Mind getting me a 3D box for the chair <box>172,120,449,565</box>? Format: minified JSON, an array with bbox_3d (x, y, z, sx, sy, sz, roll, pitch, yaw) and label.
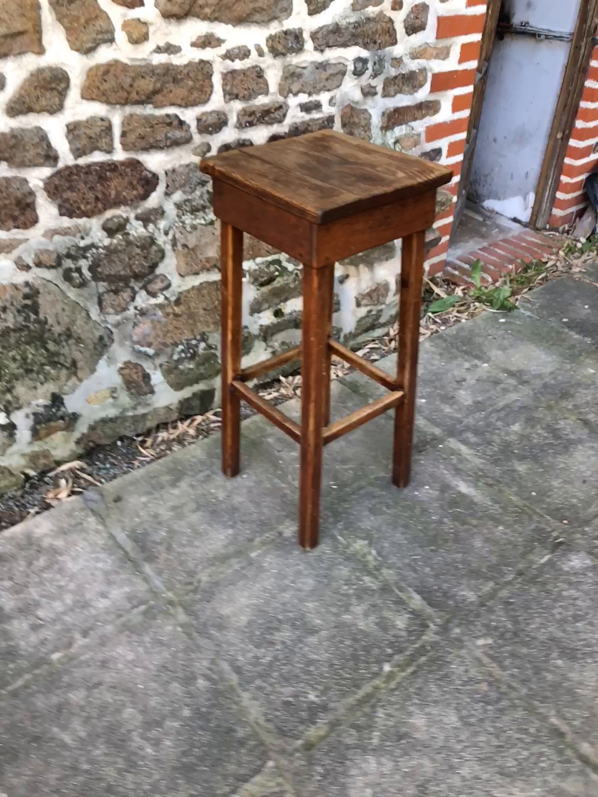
[{"bbox_3d":[0.014,-0.101,1.367,0.352,0.795,0.331,-27,45,-32],"label":"chair"}]
